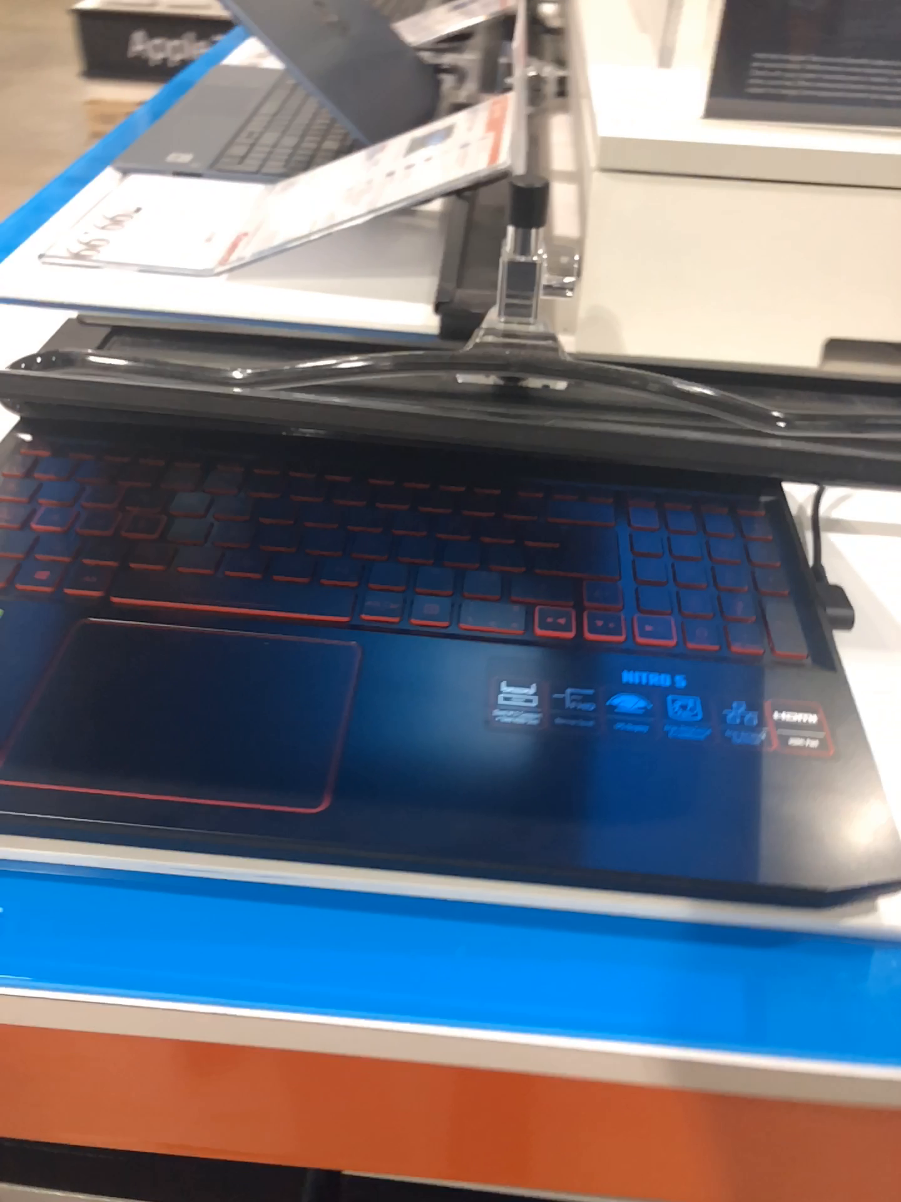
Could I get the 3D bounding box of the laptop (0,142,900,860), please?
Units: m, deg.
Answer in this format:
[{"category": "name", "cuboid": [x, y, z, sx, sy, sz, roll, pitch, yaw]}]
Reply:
[{"category": "laptop", "cuboid": [-0.022, -0.052, 0.354, 0.343, 0.121, 0.219, 5, 39, 0]}]
